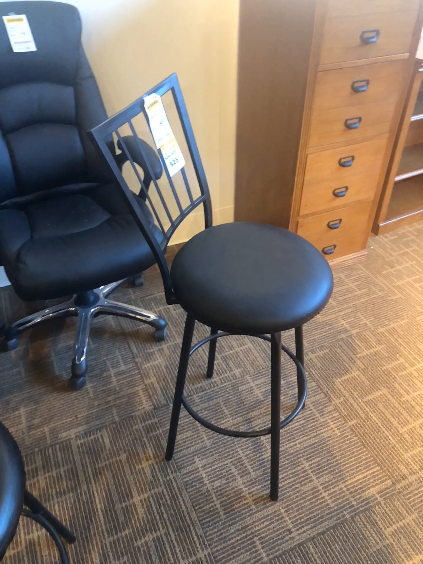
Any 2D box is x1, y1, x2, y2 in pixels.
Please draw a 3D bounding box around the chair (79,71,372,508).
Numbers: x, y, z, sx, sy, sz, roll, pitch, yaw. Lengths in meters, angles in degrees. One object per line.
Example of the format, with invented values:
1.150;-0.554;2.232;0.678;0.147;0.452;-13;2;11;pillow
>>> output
0.061;0.074;1.258;0.480;1.074;0.432;11;40;14;chair
